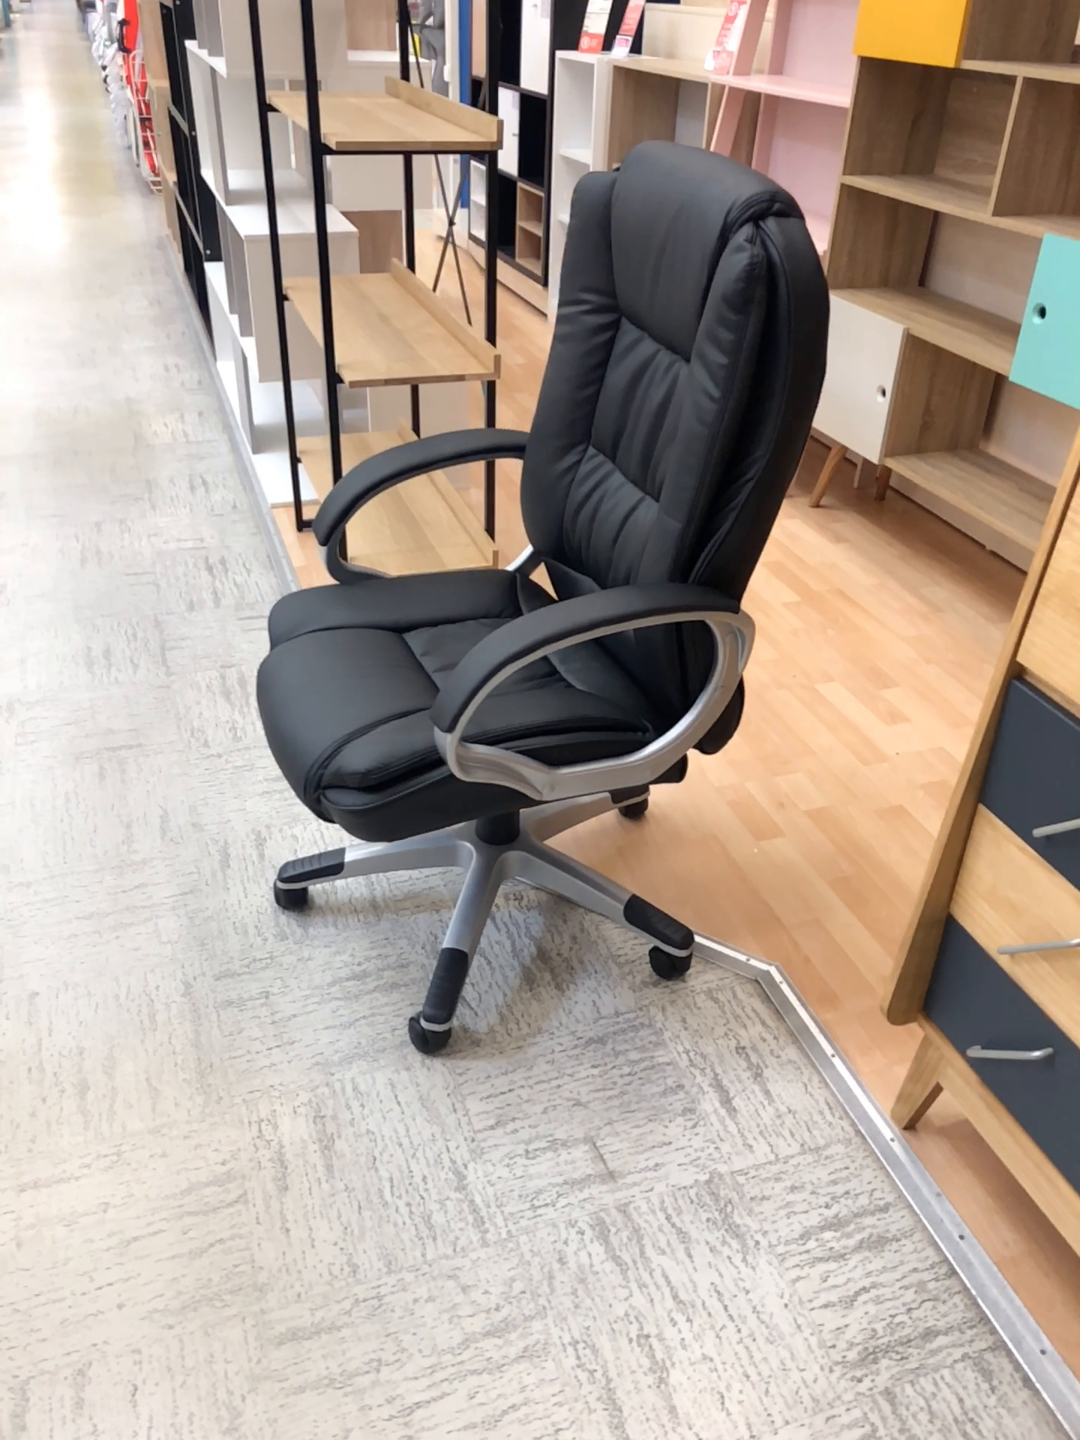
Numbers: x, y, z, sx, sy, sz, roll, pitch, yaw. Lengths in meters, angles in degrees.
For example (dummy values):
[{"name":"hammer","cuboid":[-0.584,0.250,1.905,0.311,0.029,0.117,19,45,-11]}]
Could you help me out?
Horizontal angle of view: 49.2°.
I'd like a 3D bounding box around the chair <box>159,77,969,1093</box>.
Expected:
[{"name":"chair","cuboid":[-0.063,-0.241,1.616,0.682,1.064,0.762,-9,31,-23]}]
